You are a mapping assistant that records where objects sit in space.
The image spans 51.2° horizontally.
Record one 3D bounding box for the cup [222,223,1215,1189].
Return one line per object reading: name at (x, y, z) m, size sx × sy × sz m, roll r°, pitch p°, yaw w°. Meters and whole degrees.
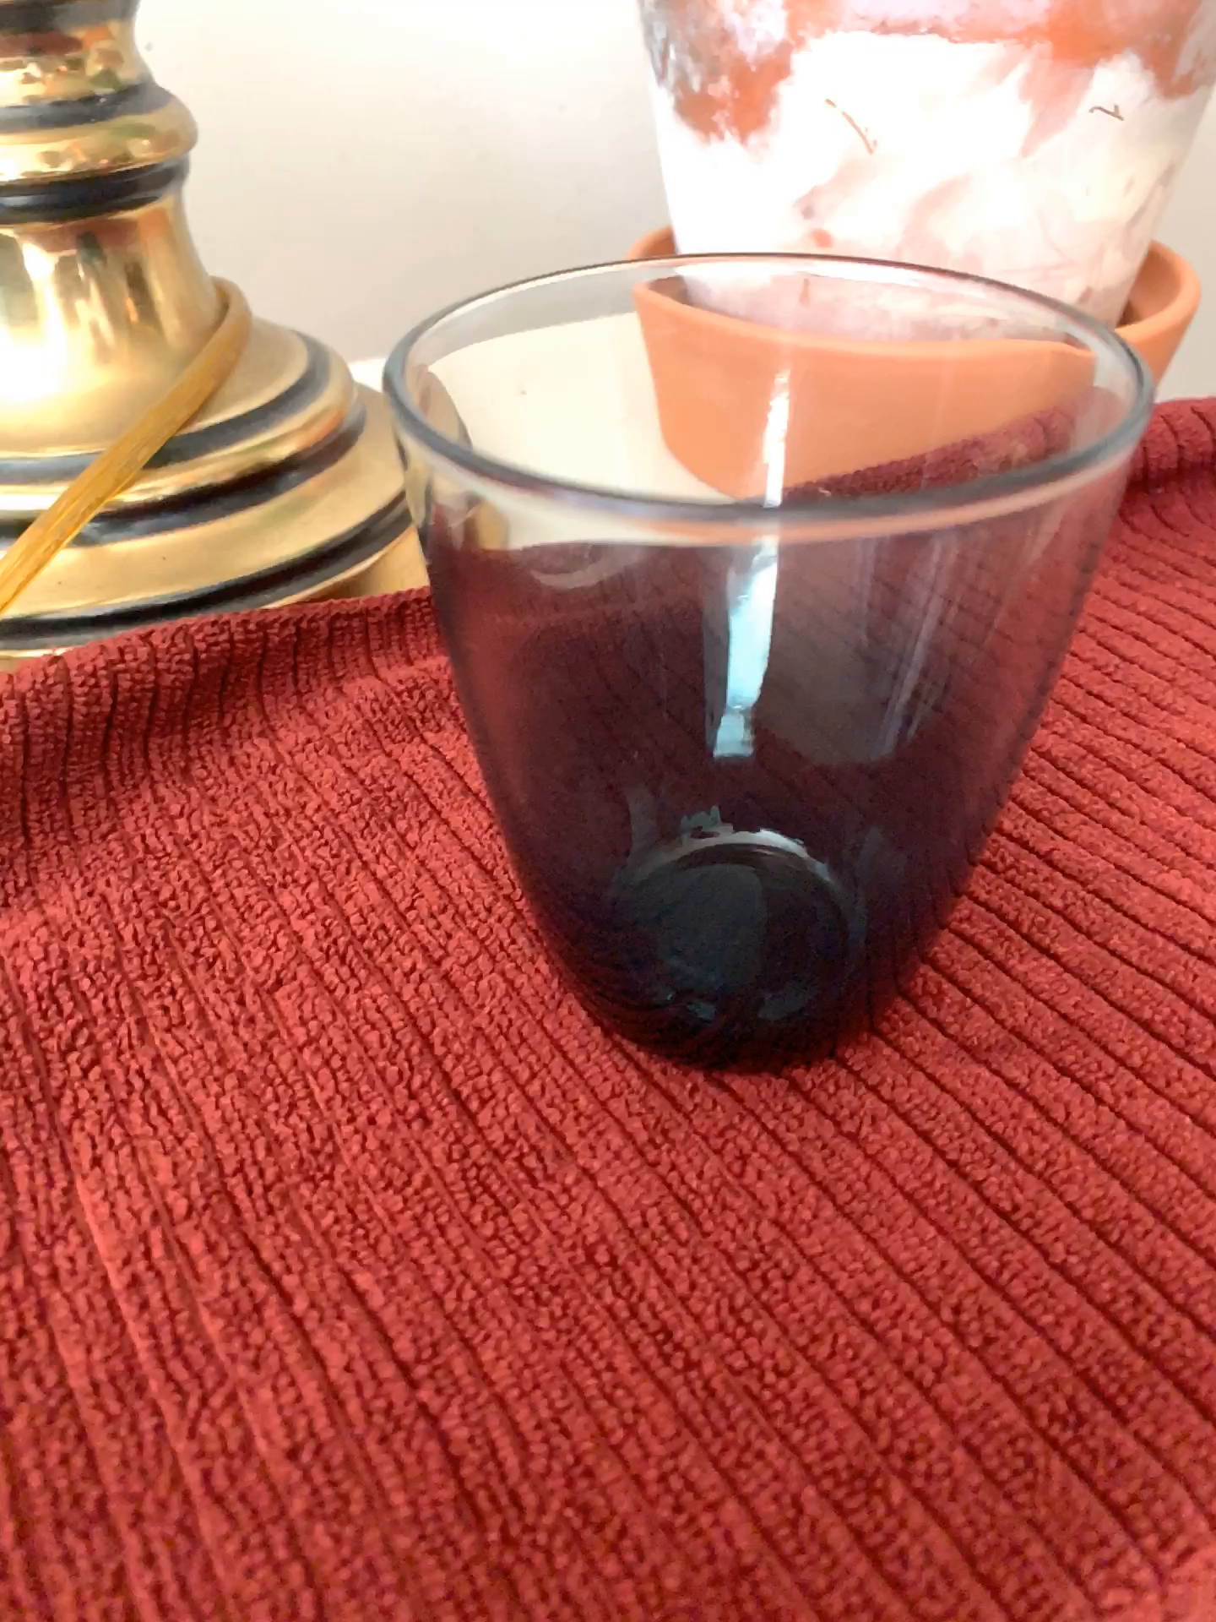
cup at (0.019, -0.024, 0.161) m, size 0.084 × 0.070 × 0.087 m, roll -1°, pitch 36°, yaw 1°
